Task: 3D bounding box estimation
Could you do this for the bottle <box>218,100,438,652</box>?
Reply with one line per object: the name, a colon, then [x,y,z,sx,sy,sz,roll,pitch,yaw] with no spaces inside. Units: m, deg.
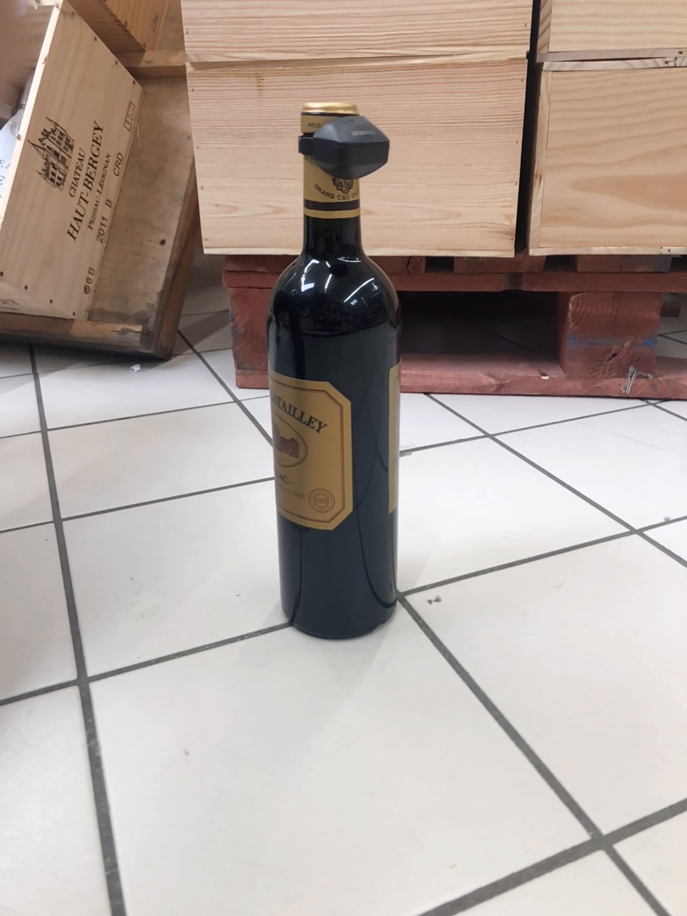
bottle: [-0.009,-0.042,0.428,0.090,0.288,0.090,-1,24,0]
